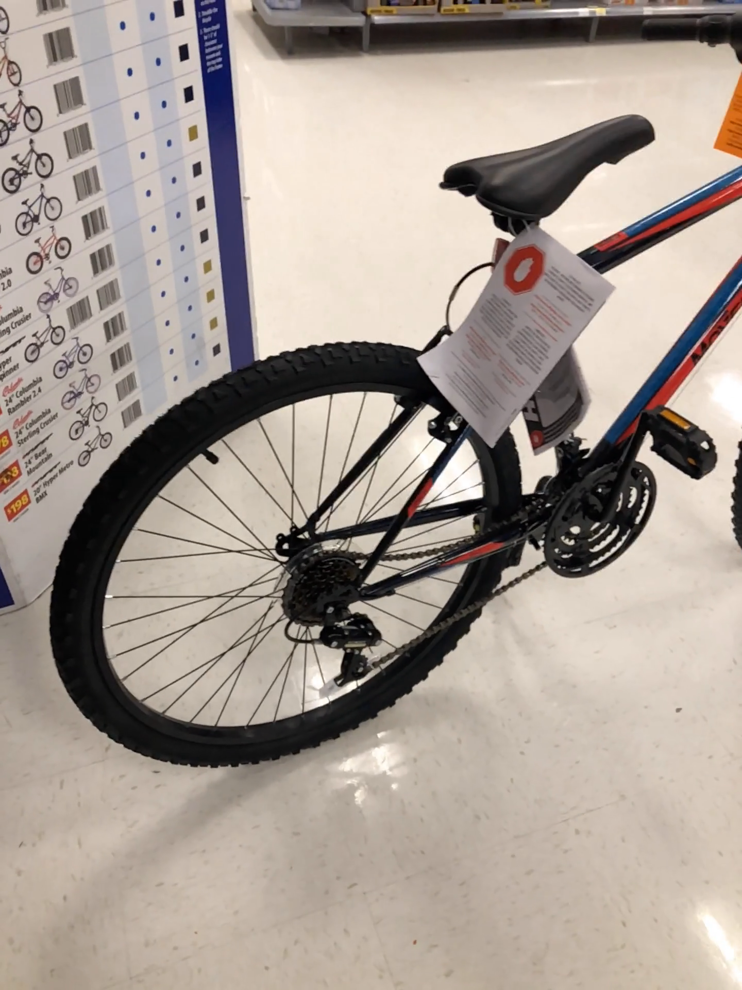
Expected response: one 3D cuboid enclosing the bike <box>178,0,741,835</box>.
[{"bbox_3d":[0.500,-0.252,1.195,1.286,0.942,0.561,-21,48,-22],"label":"bike"}]
